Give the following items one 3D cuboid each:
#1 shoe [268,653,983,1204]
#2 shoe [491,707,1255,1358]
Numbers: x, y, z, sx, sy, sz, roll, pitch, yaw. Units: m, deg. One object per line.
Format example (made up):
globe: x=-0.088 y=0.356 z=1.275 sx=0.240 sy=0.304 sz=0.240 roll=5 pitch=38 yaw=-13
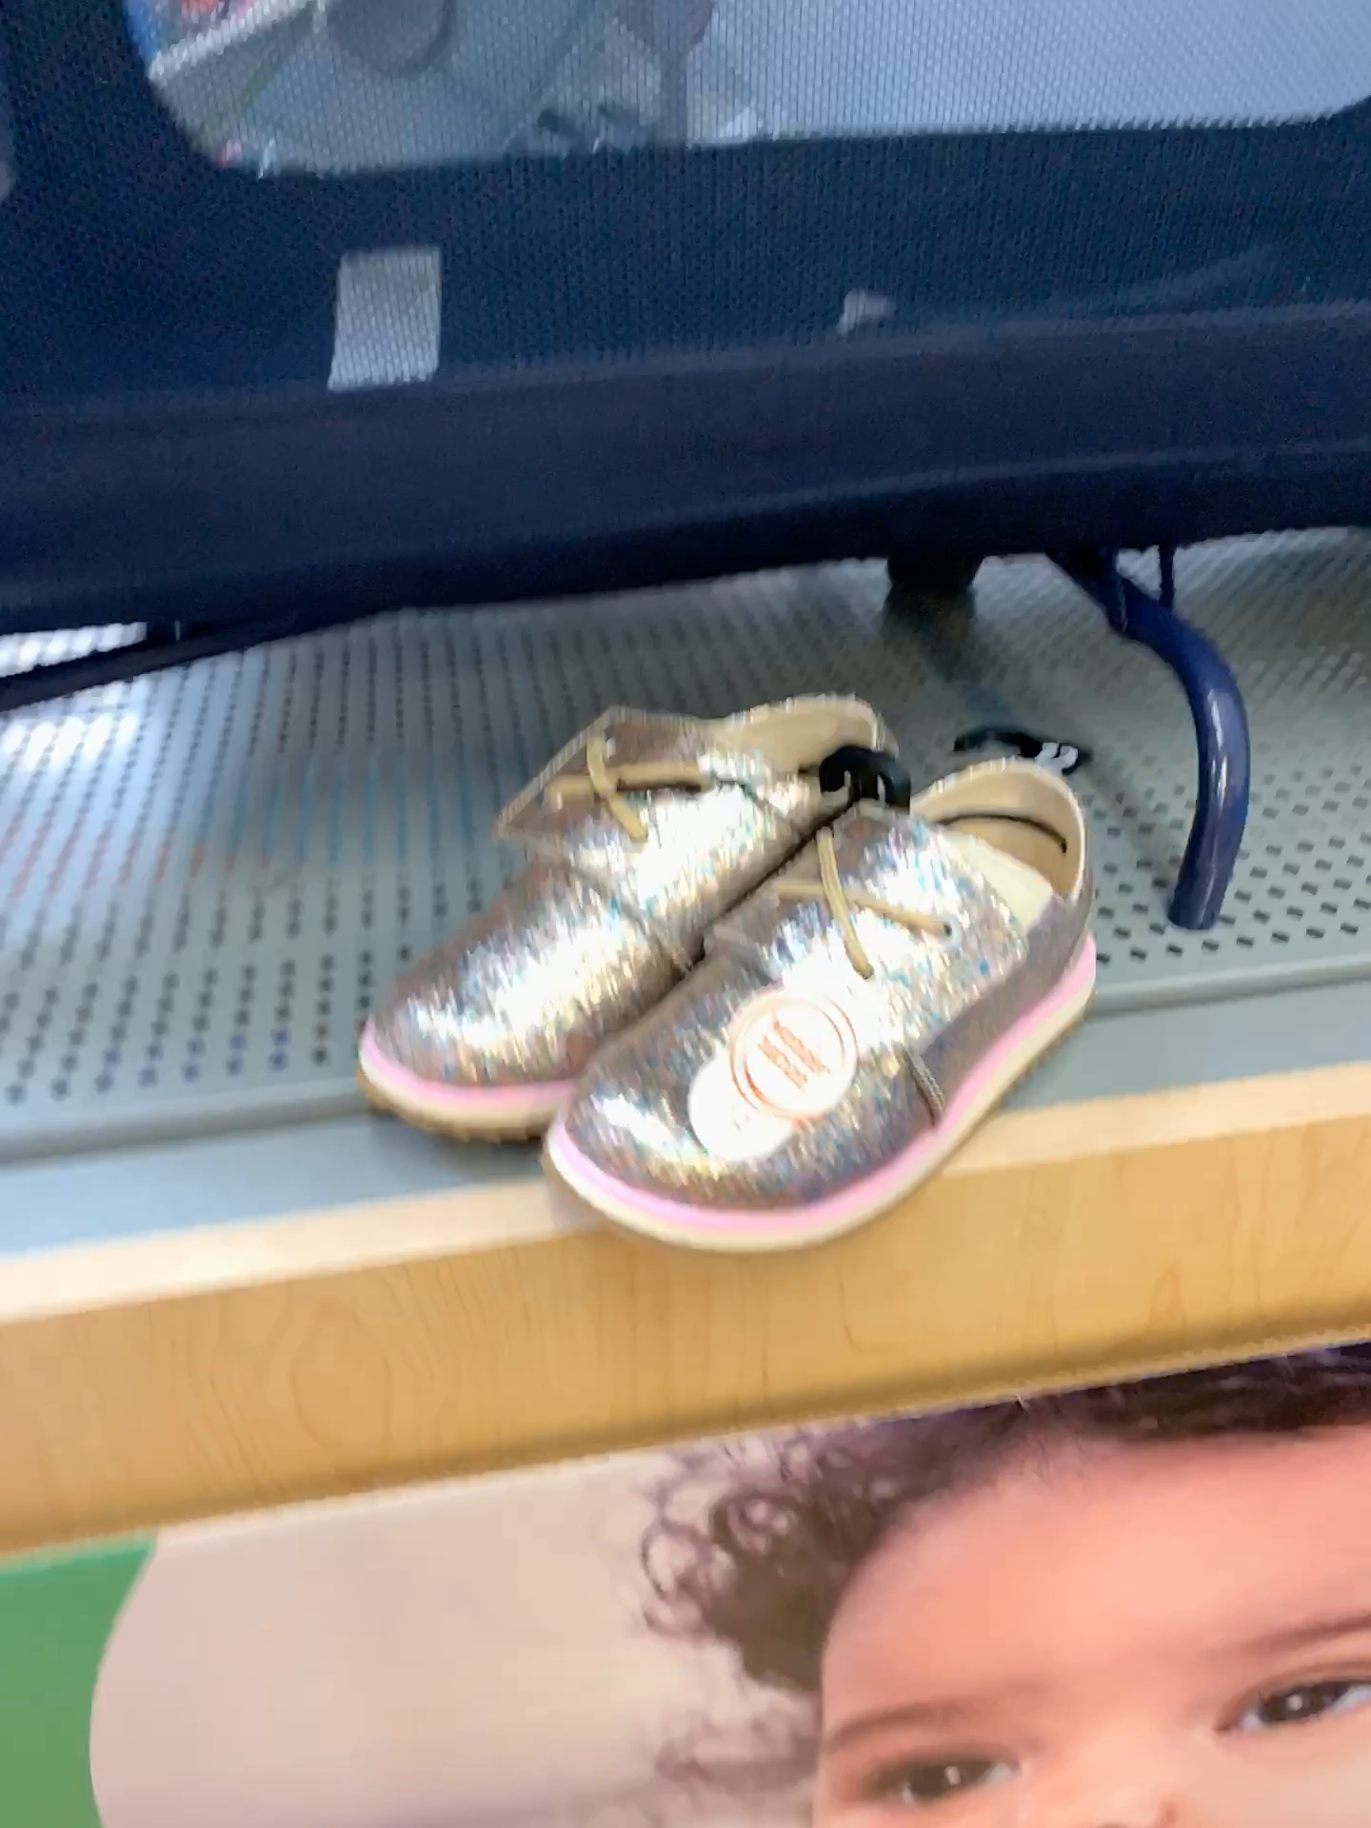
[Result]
shoe: x=-0.010 y=-0.007 z=0.430 sx=0.199 sy=0.070 sz=0.084 roll=-26 pitch=40 yaw=-31
shoe: x=0.058 y=0.017 z=0.385 sx=0.205 sy=0.060 sz=0.086 roll=-29 pitch=43 yaw=-34
